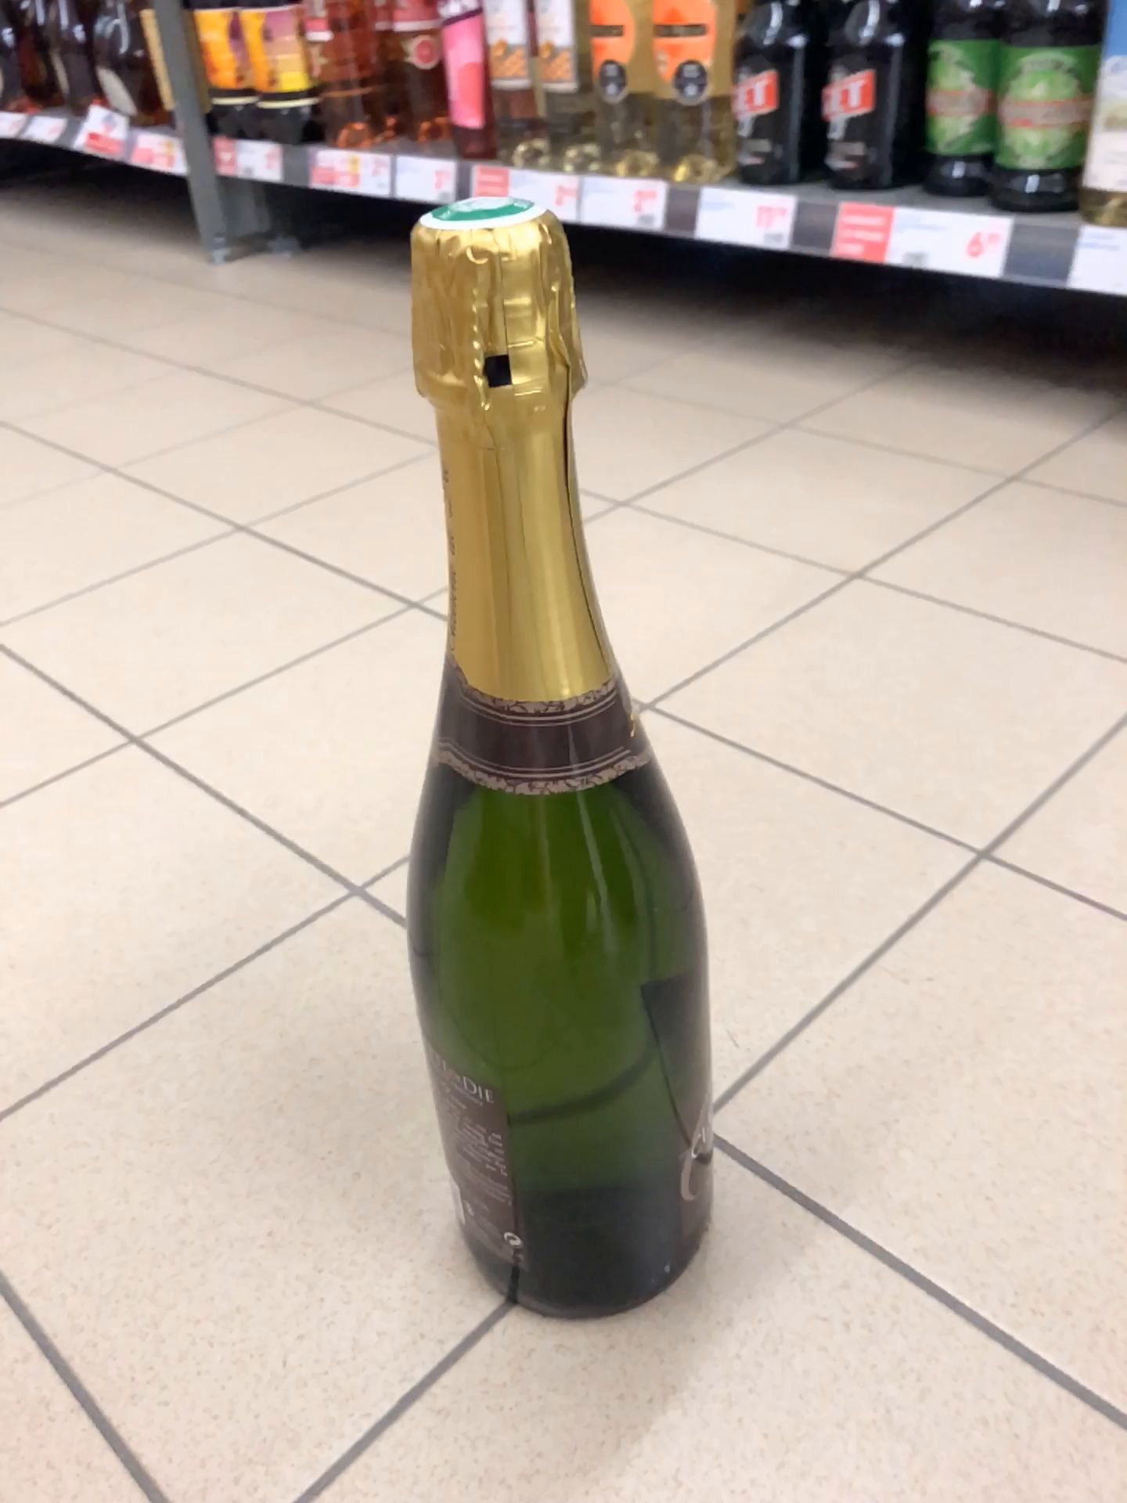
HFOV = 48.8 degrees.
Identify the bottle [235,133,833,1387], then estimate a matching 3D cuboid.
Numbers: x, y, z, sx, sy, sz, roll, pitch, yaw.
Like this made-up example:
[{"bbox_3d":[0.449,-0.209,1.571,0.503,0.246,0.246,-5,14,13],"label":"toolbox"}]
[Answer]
[{"bbox_3d":[-0.002,0.022,0.332,0.100,0.318,0.100,-3,33,2],"label":"bottle"}]
